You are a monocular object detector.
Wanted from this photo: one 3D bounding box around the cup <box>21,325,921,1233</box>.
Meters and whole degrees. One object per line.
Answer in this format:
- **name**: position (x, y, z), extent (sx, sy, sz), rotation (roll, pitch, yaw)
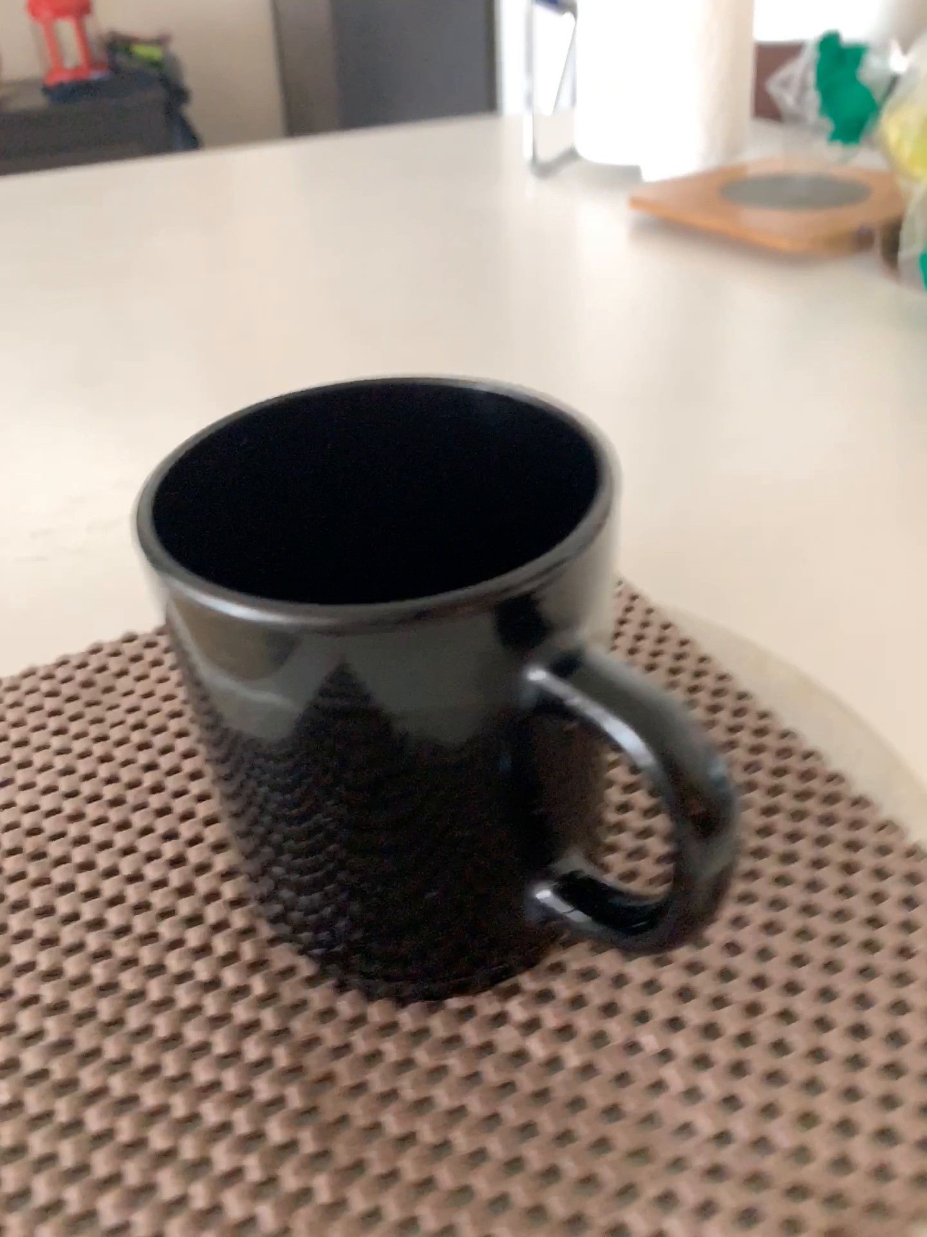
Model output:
- **cup**: position (-0.001, 0.013, 0.158), extent (0.077, 0.080, 0.101), rotation (-33, 45, -32)
